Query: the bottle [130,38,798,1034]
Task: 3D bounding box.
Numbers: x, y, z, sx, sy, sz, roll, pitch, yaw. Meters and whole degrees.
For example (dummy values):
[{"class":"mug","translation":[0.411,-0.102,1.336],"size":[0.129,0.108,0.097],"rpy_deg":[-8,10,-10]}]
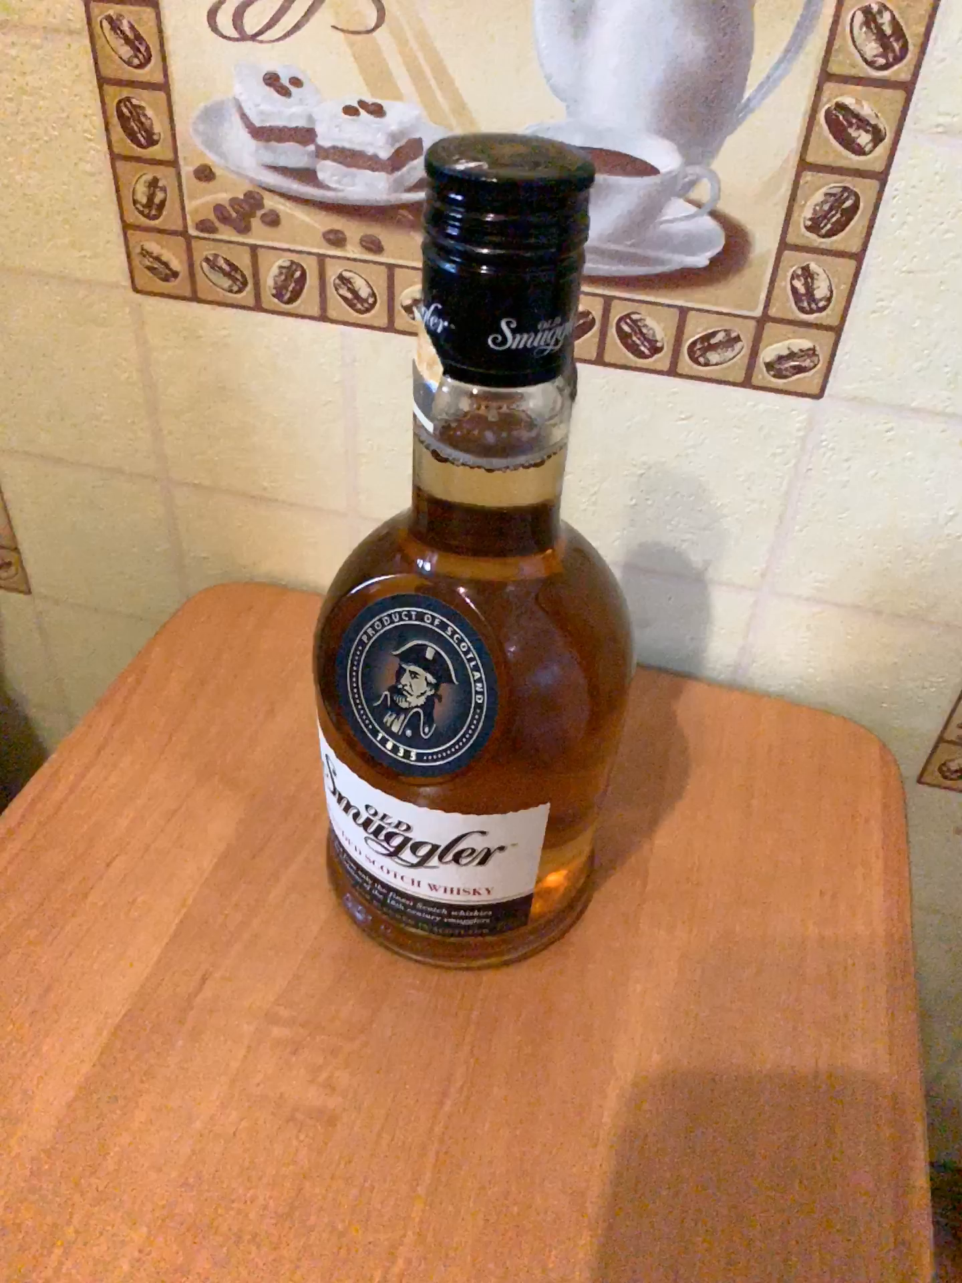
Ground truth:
[{"class":"bottle","translation":[-0.007,-0.014,0.261],"size":[0.100,0.229,0.080],"rpy_deg":[23,42,21]}]
